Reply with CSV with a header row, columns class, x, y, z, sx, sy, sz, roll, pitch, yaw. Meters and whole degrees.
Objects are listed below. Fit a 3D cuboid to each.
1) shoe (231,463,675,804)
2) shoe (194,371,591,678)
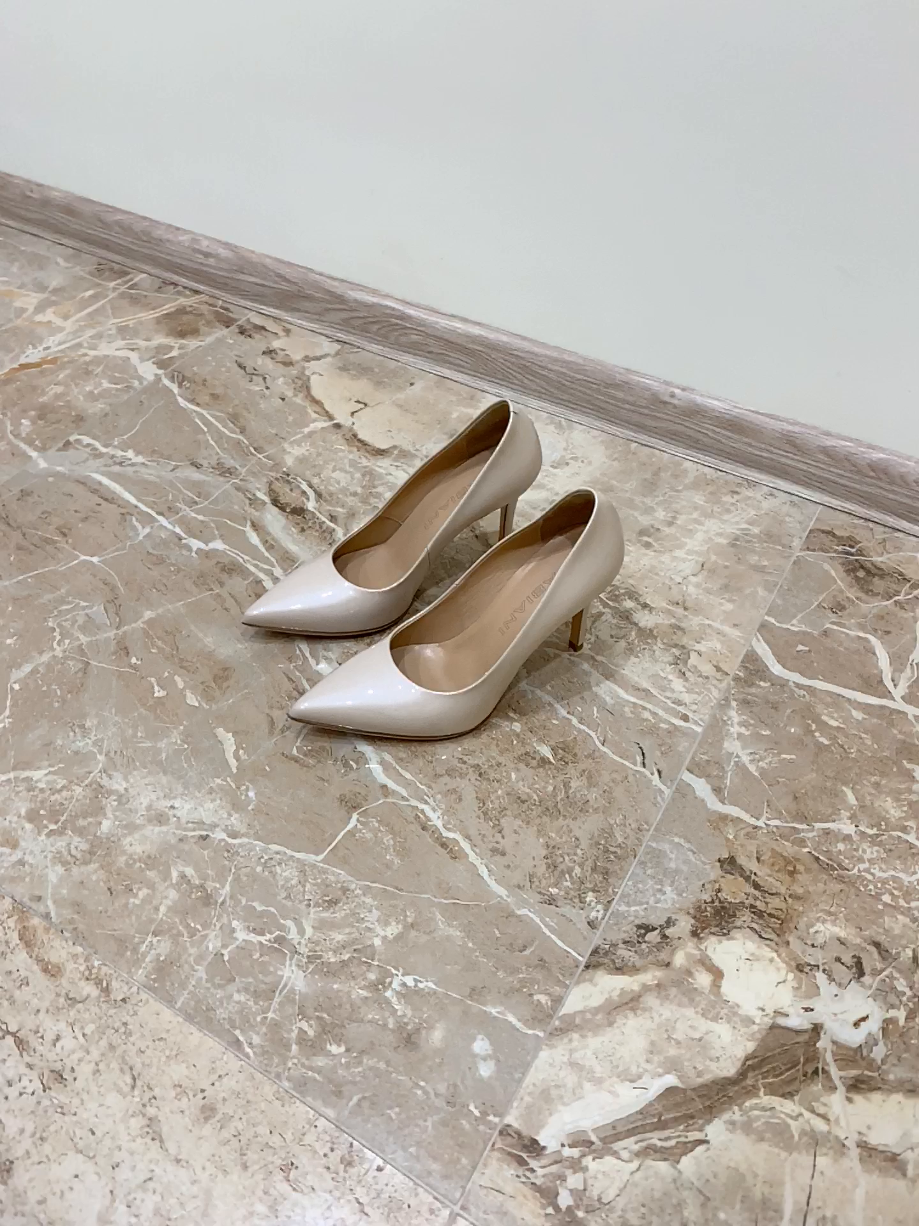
class,x,y,z,sx,sy,sz,roll,pitch,yaw
shoe,-0.002,0.008,0.583,0.240,0.109,0.090,-19,50,-17
shoe,-0.042,-0.064,0.652,0.240,0.119,0.090,-19,50,-17
